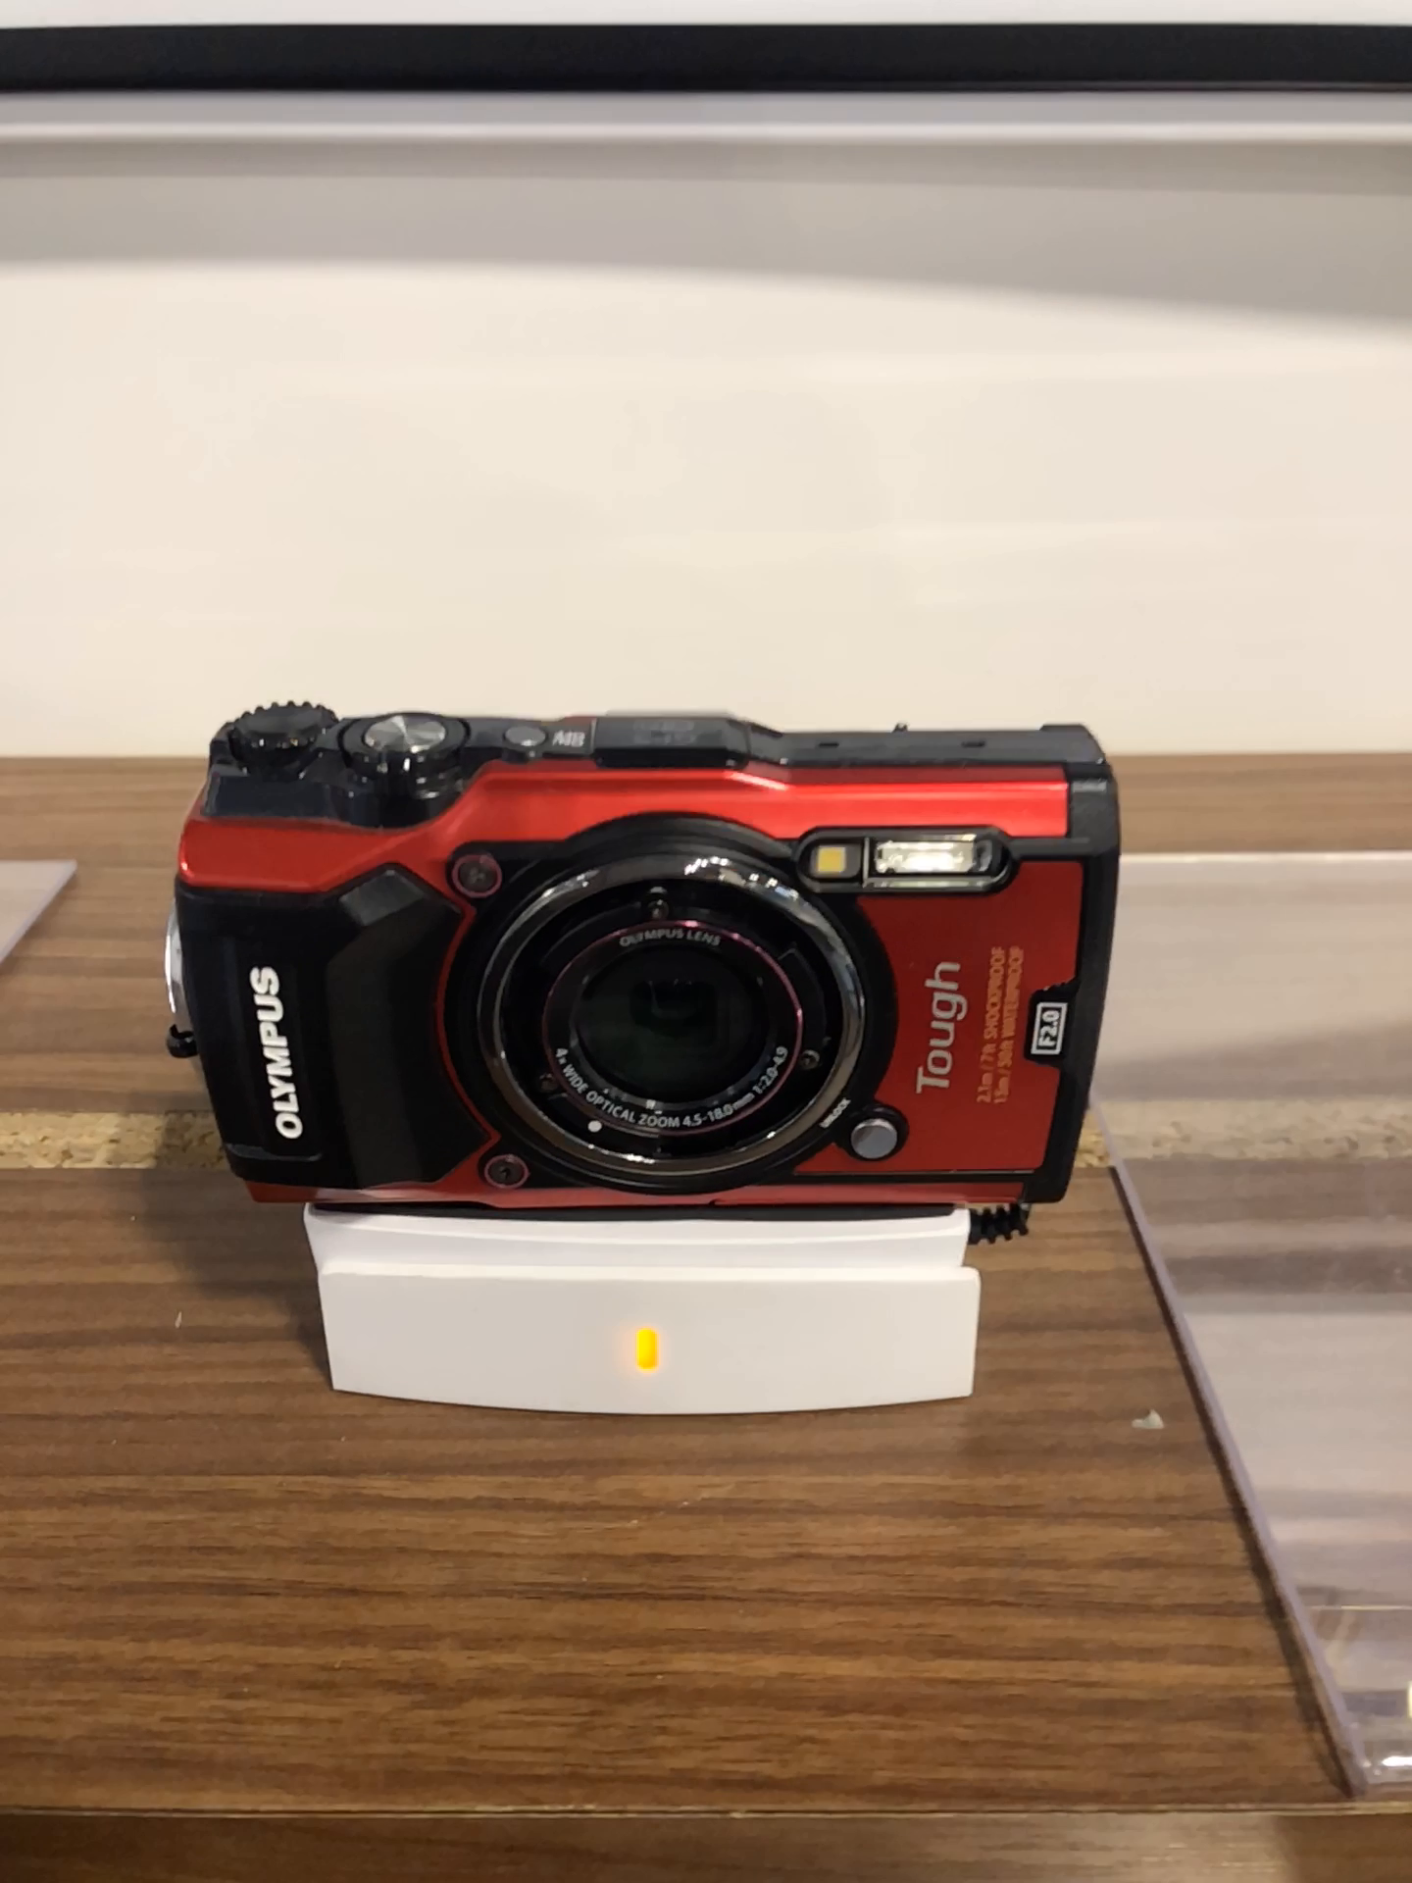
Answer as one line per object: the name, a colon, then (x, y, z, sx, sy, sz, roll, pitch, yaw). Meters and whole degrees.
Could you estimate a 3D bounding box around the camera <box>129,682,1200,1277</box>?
camera: (-0.005, 0.005, 0.205, 0.120, 0.070, 0.030, 1, 28, 2)
